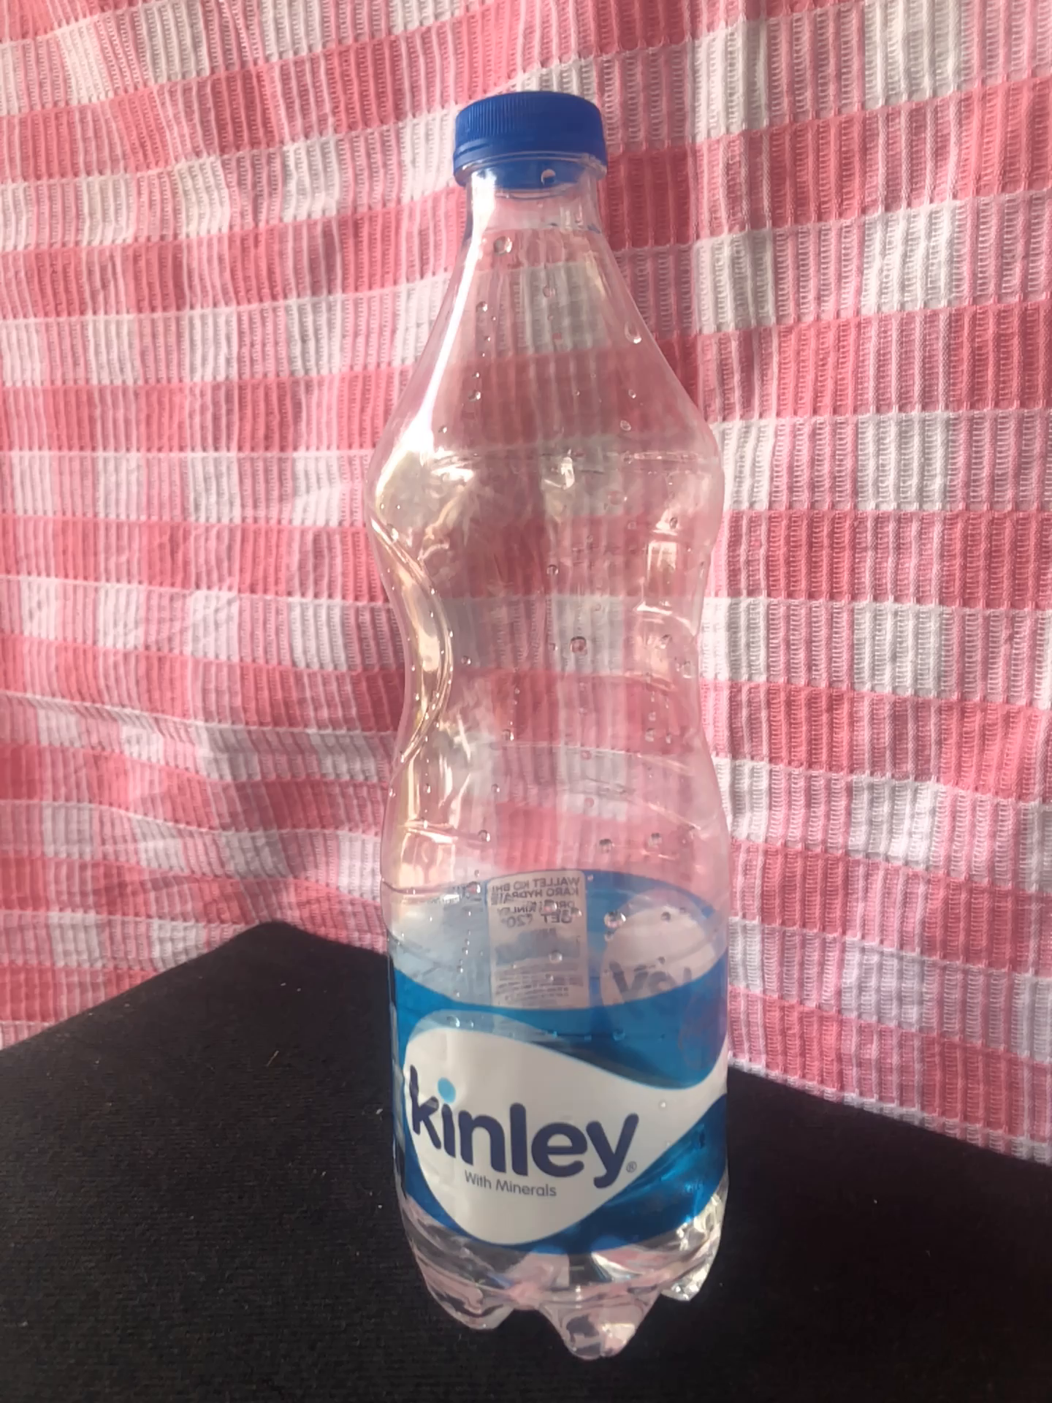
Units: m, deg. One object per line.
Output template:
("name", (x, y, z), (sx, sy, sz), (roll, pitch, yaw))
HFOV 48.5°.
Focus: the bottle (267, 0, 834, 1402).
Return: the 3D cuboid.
("bottle", (0.012, 0.003, 0.253), (0.090, 0.259, 0.080), (4, 15, 16))
